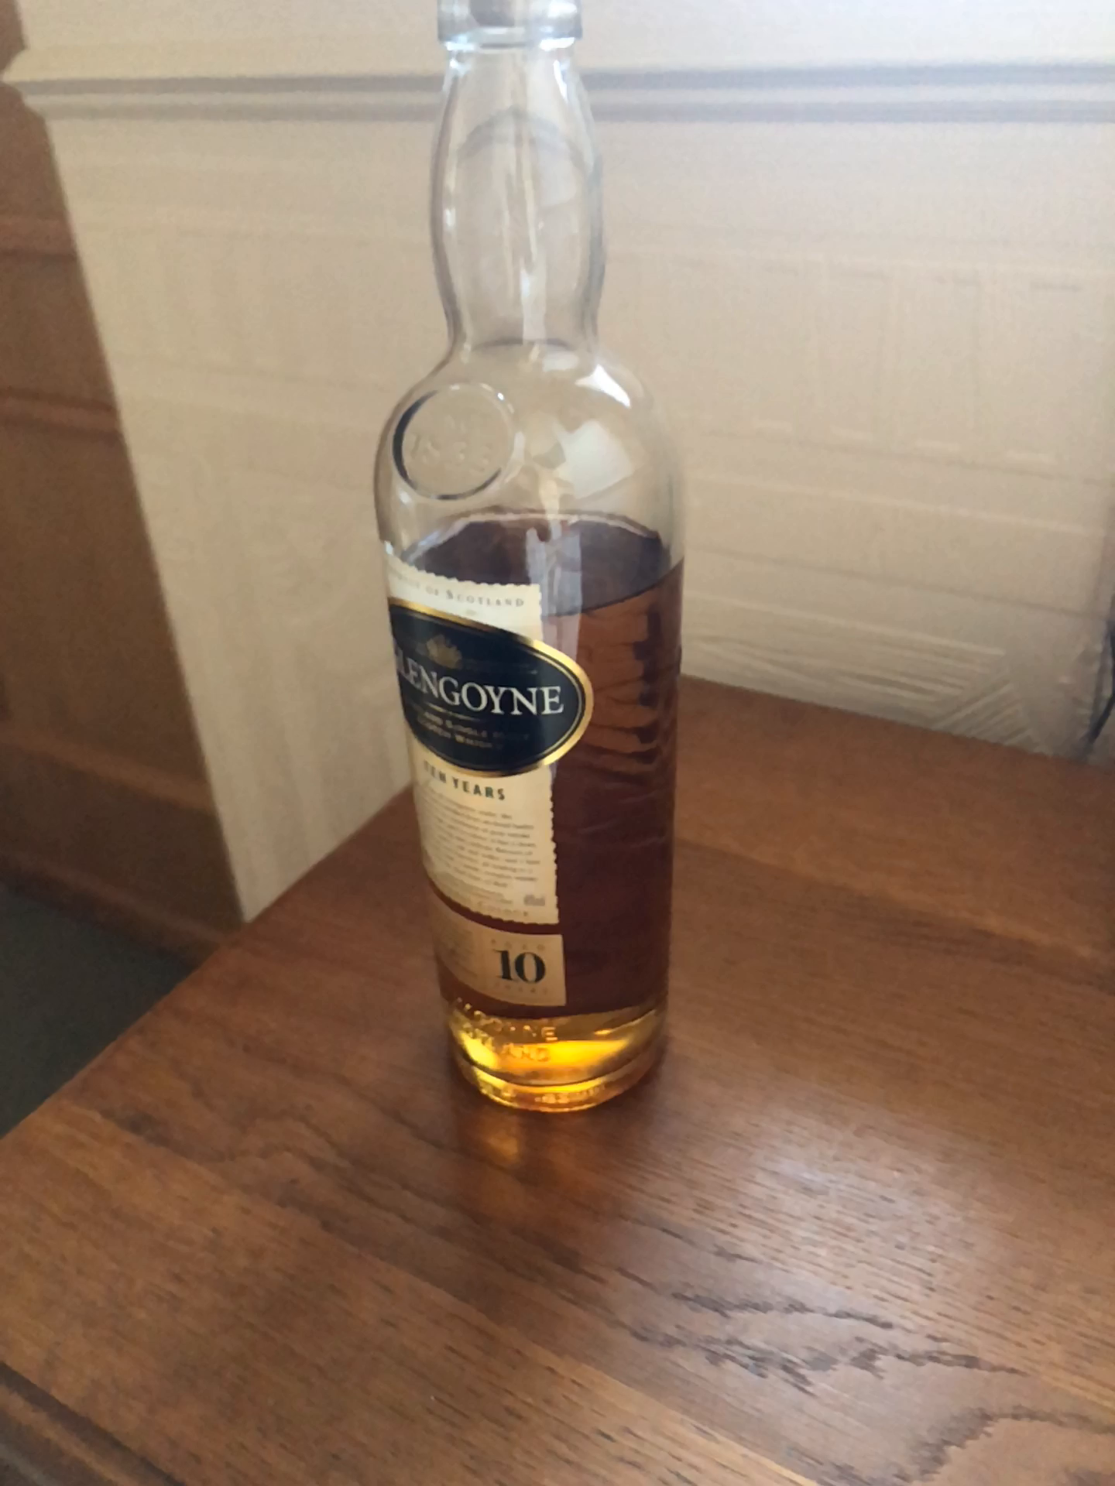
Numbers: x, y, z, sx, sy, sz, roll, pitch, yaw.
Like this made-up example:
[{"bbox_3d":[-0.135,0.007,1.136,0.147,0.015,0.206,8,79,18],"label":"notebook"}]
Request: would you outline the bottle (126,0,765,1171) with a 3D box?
[{"bbox_3d":[-0.010,-0.045,0.317,0.090,0.318,0.080,17,38,31],"label":"bottle"}]
